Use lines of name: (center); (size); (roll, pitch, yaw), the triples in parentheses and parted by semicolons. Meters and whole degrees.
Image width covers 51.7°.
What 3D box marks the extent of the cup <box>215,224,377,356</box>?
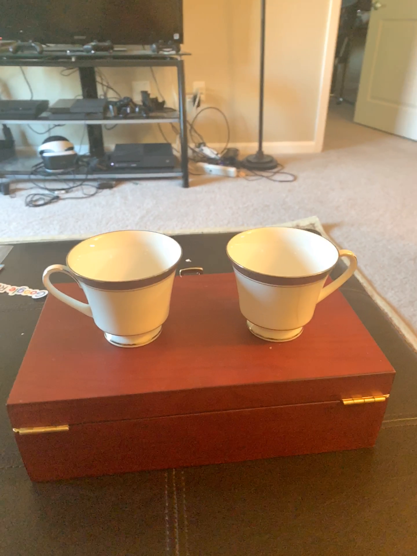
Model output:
cup: (0.066, 0.006, 0.370); (0.110, 0.070, 0.091); (-3, 31, -5)

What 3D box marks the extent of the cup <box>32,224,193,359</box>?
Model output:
cup: (-0.072, 0.007, 0.359); (0.110, 0.070, 0.091); (-3, 31, -4)
